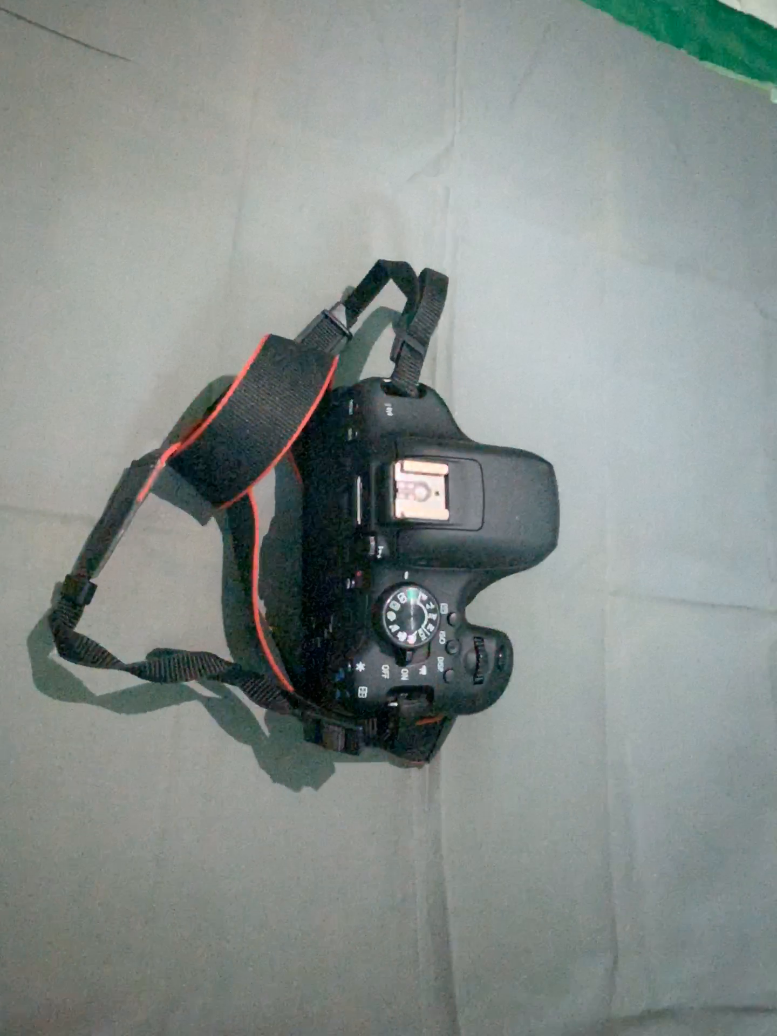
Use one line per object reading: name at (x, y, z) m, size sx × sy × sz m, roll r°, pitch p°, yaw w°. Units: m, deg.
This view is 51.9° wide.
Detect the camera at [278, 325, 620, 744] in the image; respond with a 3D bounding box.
camera at (0.018, 0.016, 0.302) m, size 0.090 × 0.088 × 0.132 m, roll 7°, pitch 73°, yaw -24°
